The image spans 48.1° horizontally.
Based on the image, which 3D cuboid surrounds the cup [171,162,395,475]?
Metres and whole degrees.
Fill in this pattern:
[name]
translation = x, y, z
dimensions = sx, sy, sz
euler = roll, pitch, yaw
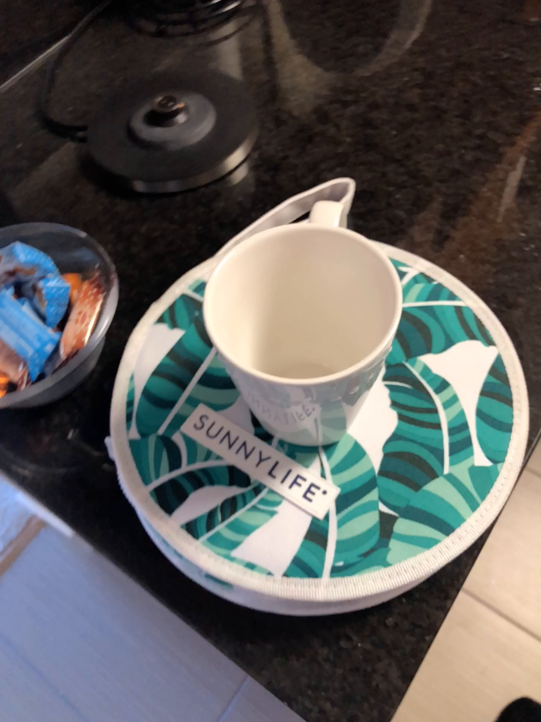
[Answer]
[cup]
translation = 0.015, -0.022, 0.313
dimensions = 0.090, 0.090, 0.130
euler = 2, 59, 8
